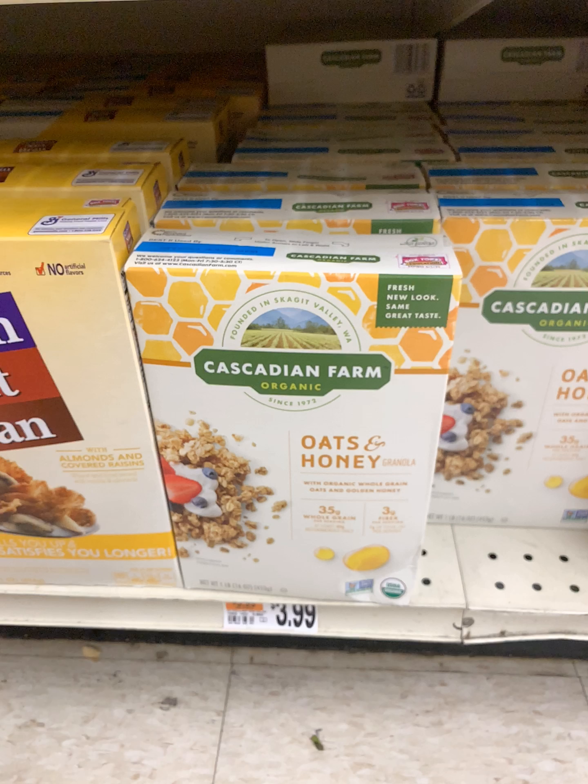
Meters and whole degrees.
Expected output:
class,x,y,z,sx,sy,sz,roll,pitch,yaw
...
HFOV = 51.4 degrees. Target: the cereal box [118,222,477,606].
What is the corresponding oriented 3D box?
class,x,y,z,sx,sy,sz,roll,pitch,yaw
cereal box,0.005,0.023,0.361,0.160,0.229,0.060,3,35,6
